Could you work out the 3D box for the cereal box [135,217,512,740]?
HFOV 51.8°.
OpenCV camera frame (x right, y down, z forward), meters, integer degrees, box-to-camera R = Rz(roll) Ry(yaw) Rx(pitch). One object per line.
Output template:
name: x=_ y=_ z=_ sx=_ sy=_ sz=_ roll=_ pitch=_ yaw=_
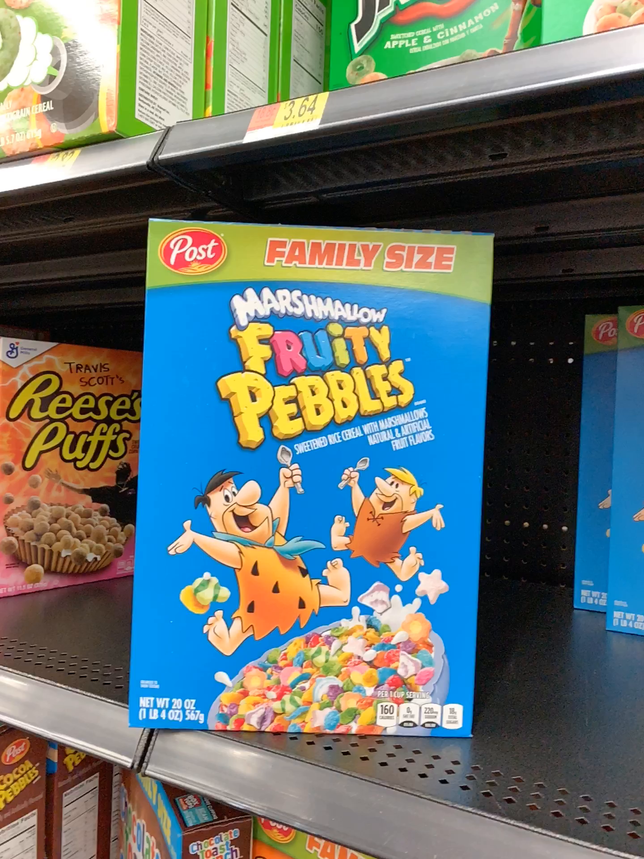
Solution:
cereal box: x=0.000 y=0.033 z=0.465 sx=0.230 sy=0.330 sz=0.070 roll=3 pitch=1 yaw=-2
